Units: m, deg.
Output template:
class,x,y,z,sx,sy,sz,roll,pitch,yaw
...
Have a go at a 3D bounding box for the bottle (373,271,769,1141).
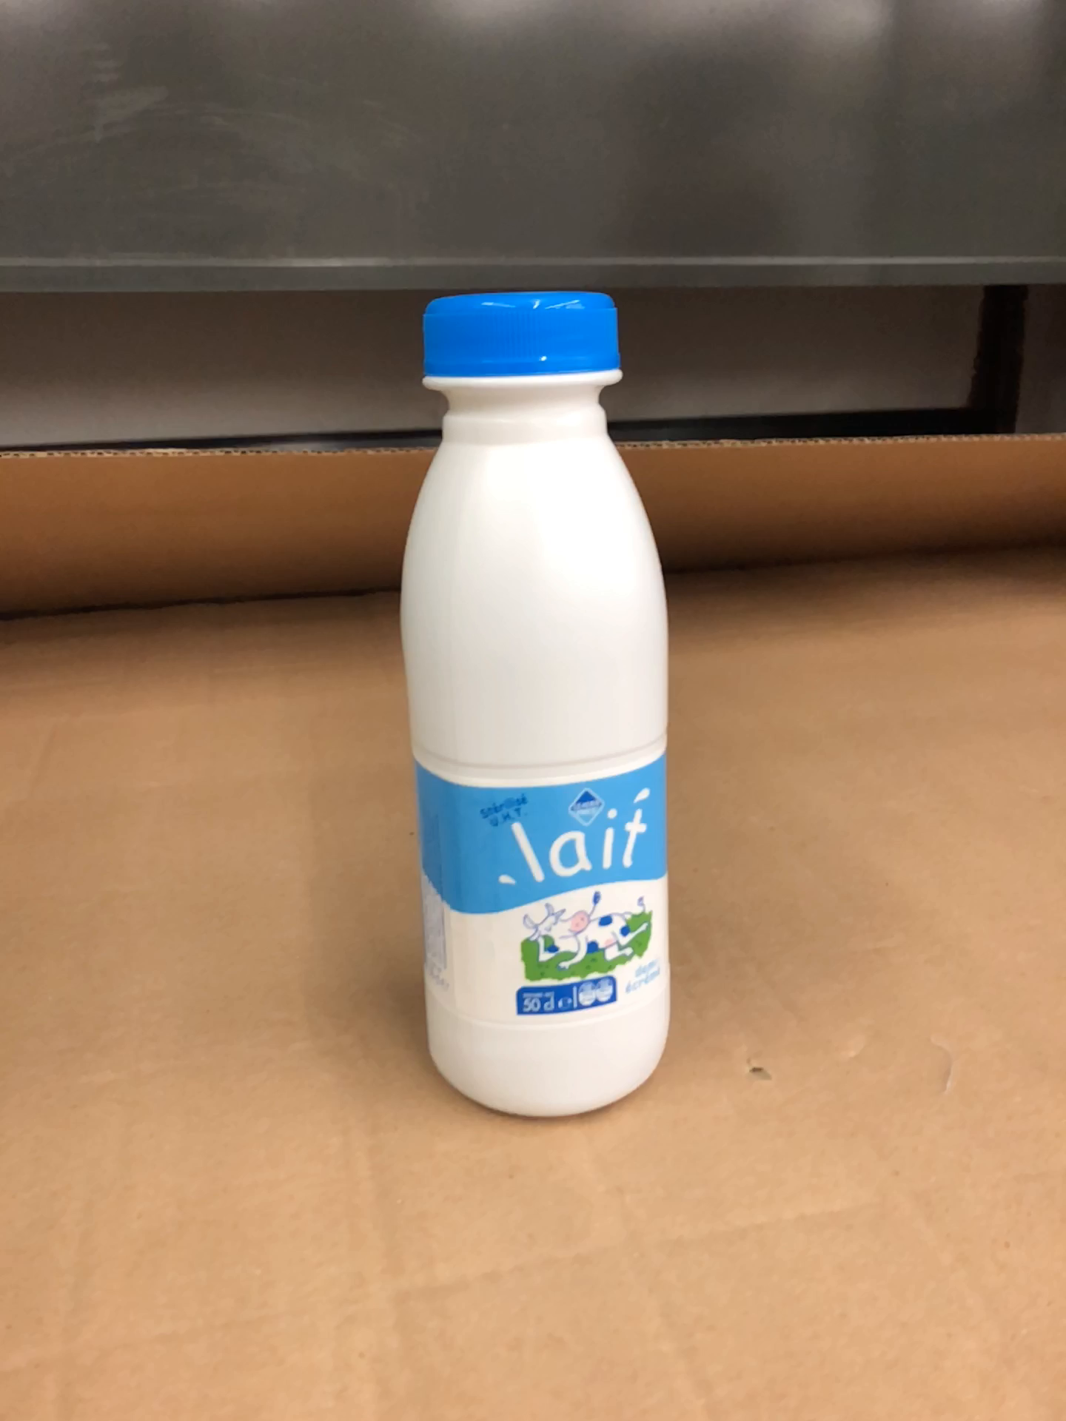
class,x,y,z,sx,sy,sz,roll,pitch,yaw
bottle,0.005,-0.004,0.282,0.070,0.189,0.070,-1,19,0
